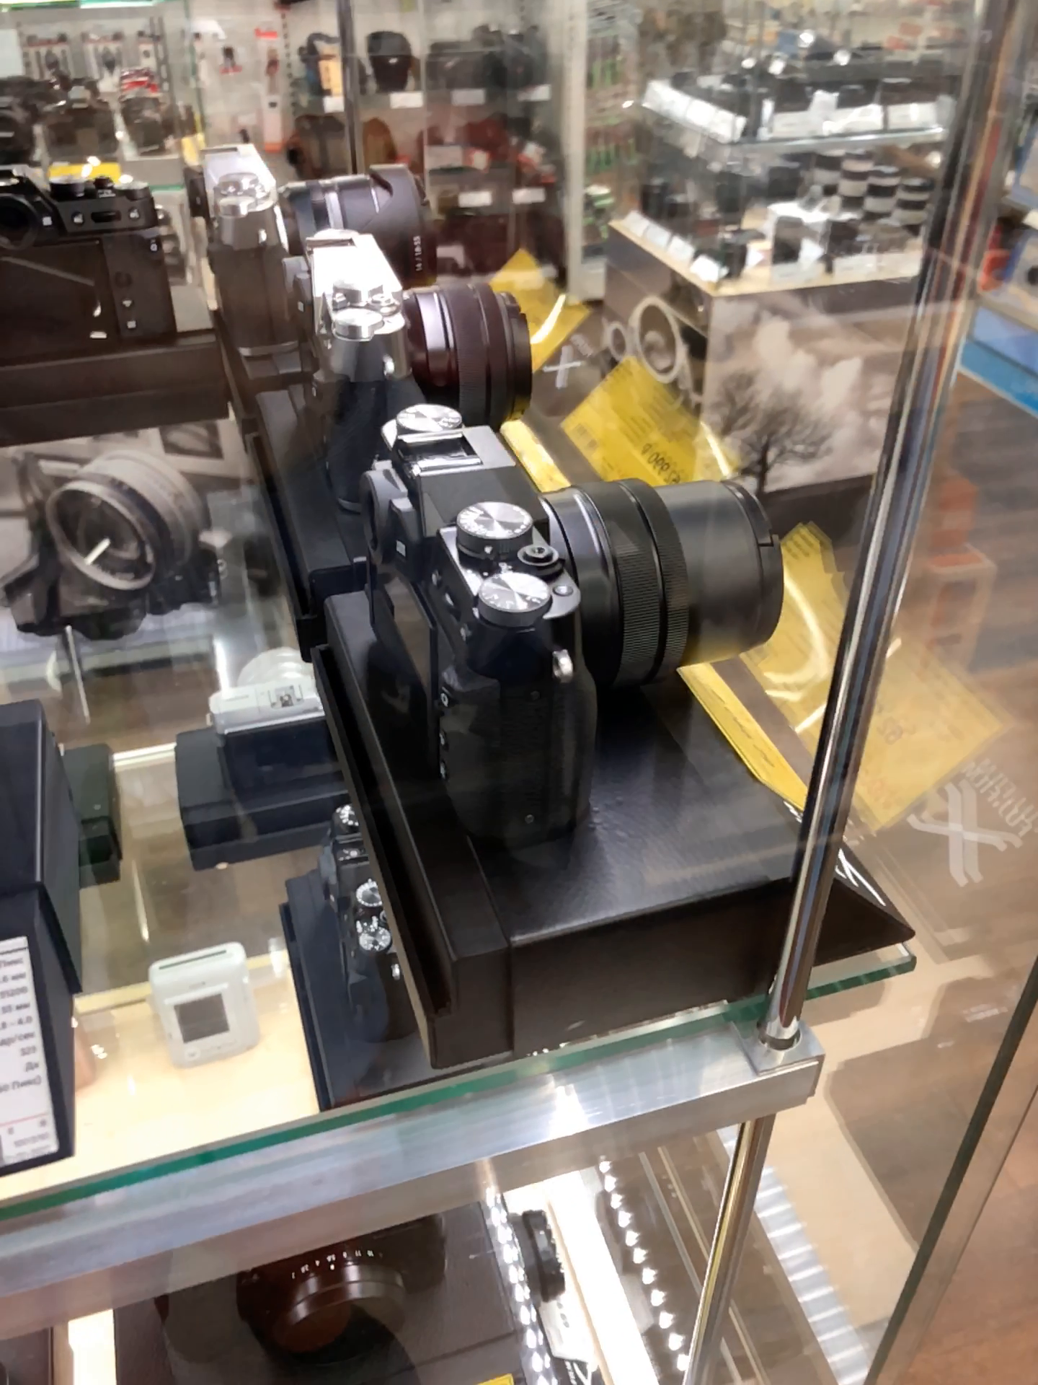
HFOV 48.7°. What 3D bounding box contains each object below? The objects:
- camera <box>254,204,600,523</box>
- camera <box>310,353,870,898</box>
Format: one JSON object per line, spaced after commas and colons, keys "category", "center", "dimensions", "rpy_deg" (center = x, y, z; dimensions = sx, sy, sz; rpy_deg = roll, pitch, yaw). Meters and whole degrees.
{"category": "camera", "center": [-0.040, -0.136, 0.458], "dimensions": [0.108, 0.078, 0.114], "rpy_deg": [-10, 37, -13]}
{"category": "camera", "center": [0.012, -0.027, 0.325], "dimensions": [0.110, 0.089, 0.114], "rpy_deg": [-12, 38, -16]}
